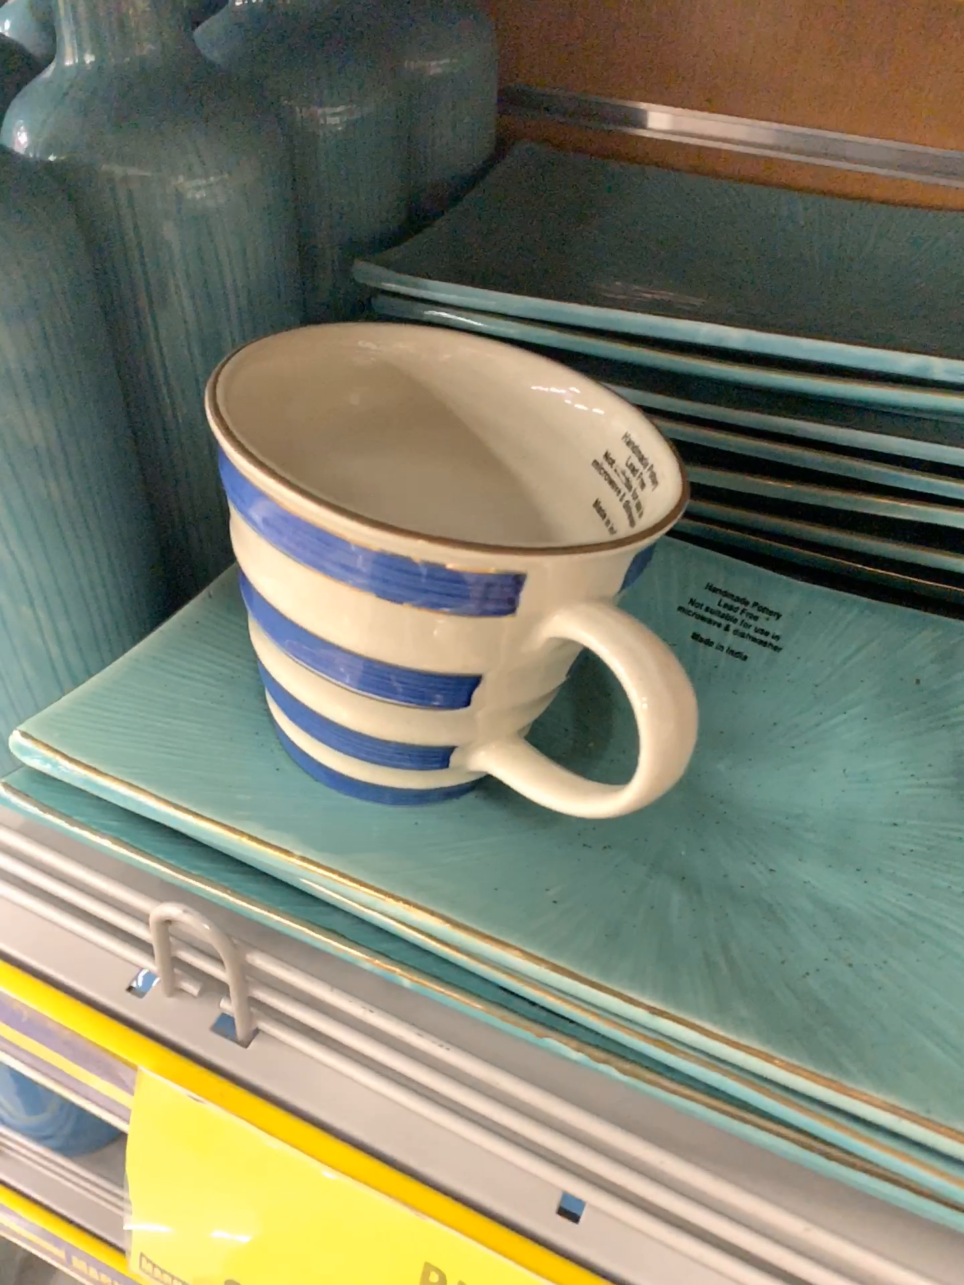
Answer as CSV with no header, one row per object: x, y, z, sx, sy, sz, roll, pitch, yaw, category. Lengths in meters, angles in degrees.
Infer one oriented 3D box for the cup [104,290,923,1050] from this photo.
0.000,-0.009,0.228,0.140,0.080,0.100,35,42,25,cup
